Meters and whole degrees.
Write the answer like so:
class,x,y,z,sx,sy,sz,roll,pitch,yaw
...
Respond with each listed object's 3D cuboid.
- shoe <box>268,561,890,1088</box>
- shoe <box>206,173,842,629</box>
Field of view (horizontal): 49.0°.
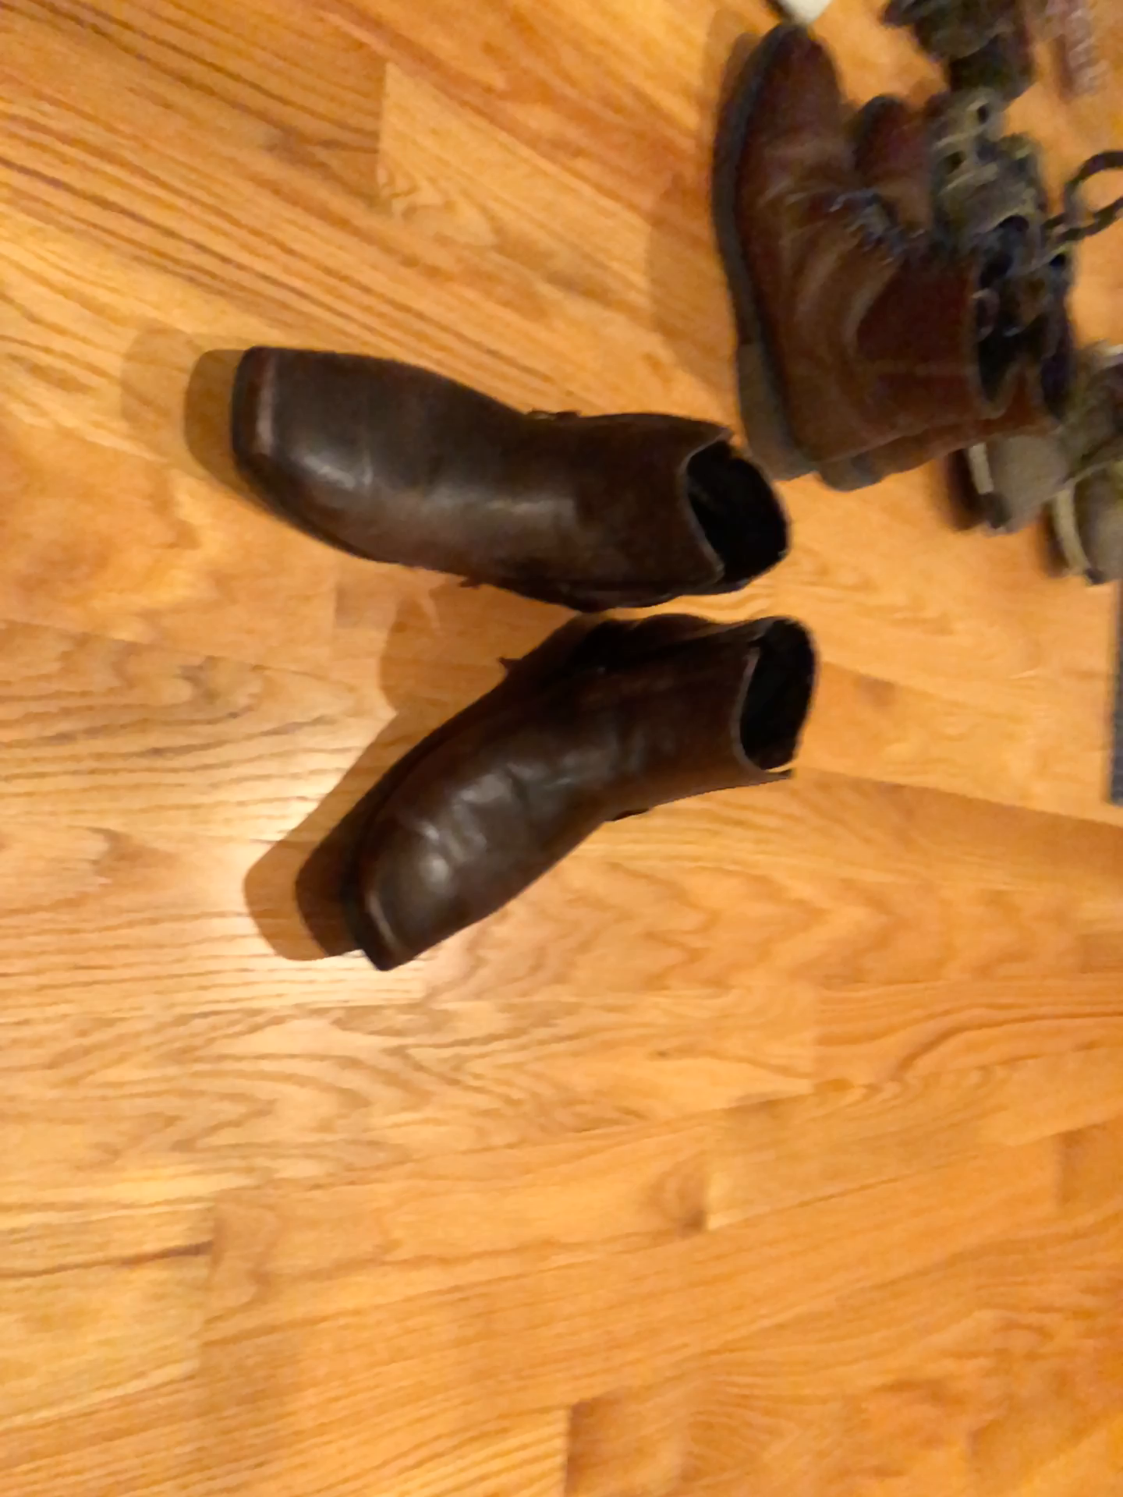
class,x,y,z,sx,sy,sz,roll,pitch,yaw
shoe,0.025,0.021,0.649,0.301,0.152,0.109,-40,118,-38
shoe,-0.003,-0.145,0.613,0.291,0.142,0.109,10,83,-46
